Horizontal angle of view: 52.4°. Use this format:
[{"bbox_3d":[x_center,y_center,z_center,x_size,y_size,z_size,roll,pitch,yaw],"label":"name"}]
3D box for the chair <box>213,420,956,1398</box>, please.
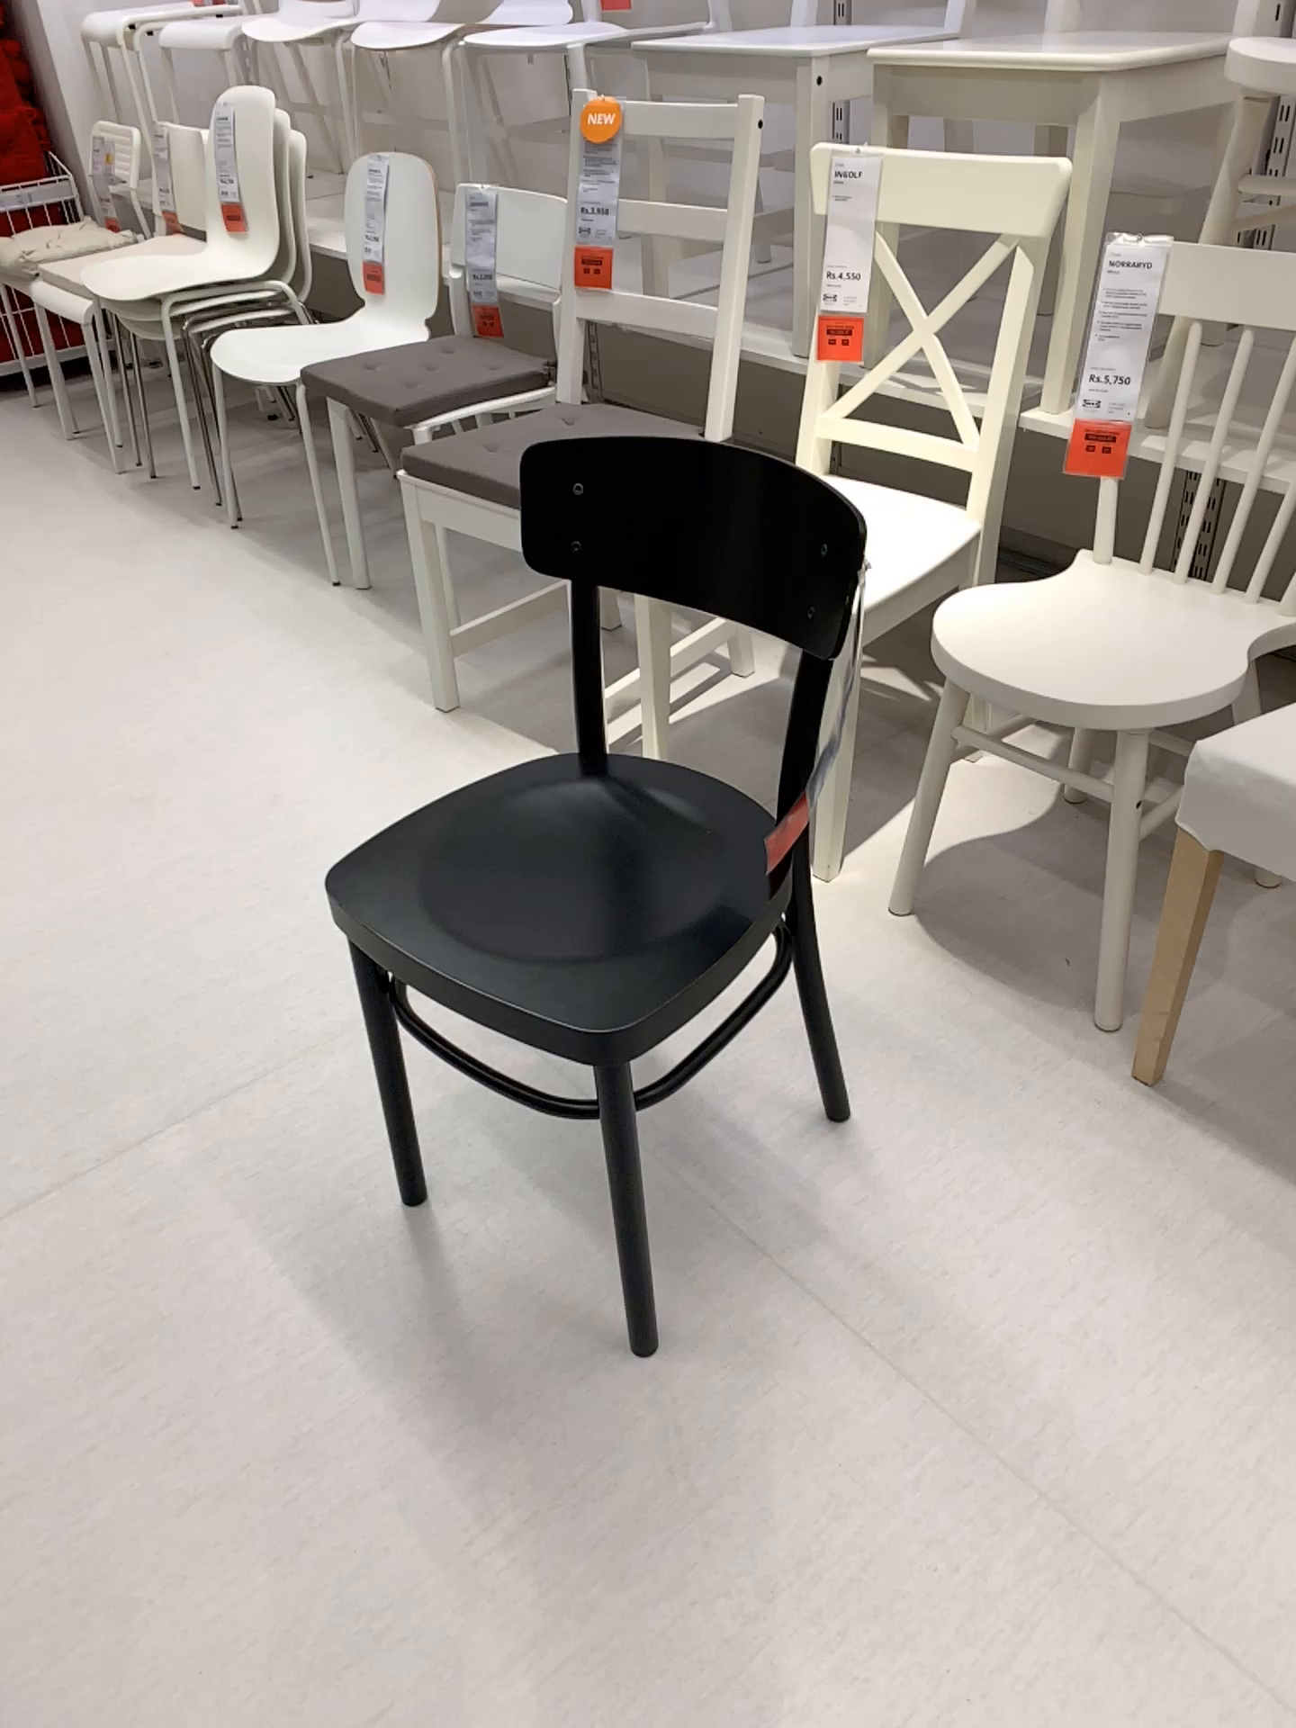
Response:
[{"bbox_3d":[-0.020,0.032,1.341,0.431,0.767,0.471,22,44,32],"label":"chair"}]
